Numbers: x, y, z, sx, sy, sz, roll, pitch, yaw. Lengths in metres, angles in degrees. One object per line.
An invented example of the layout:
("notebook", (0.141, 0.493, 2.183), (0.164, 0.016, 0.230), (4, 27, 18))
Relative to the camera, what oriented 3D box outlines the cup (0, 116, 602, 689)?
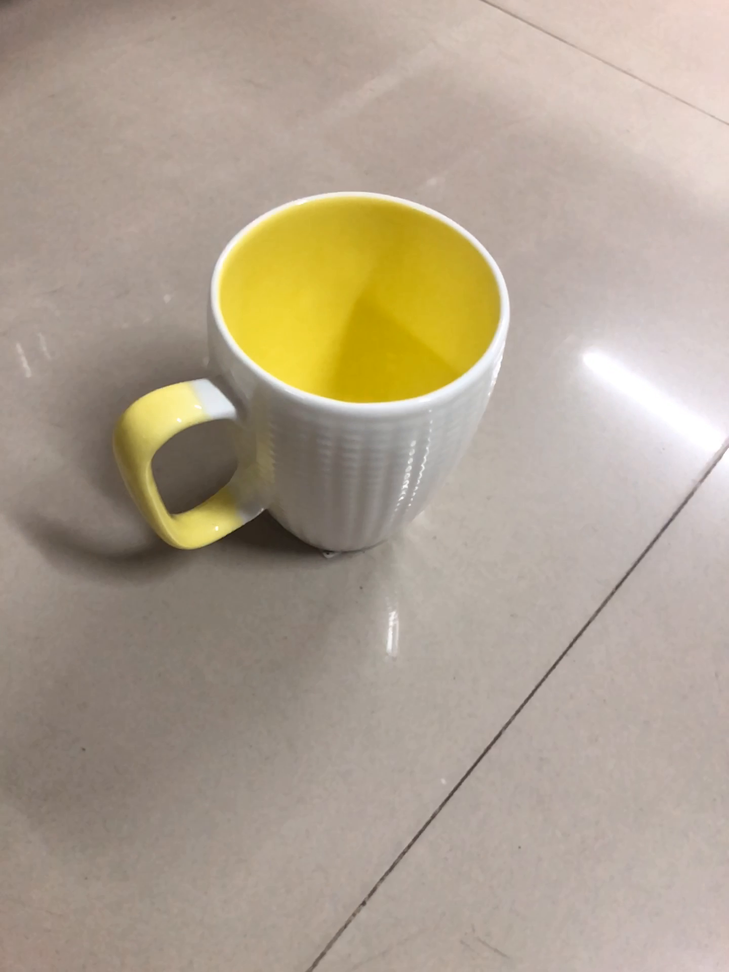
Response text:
("cup", (-0.019, -0.024, 0.220), (0.120, 0.080, 0.080), (-30, 64, -21))
